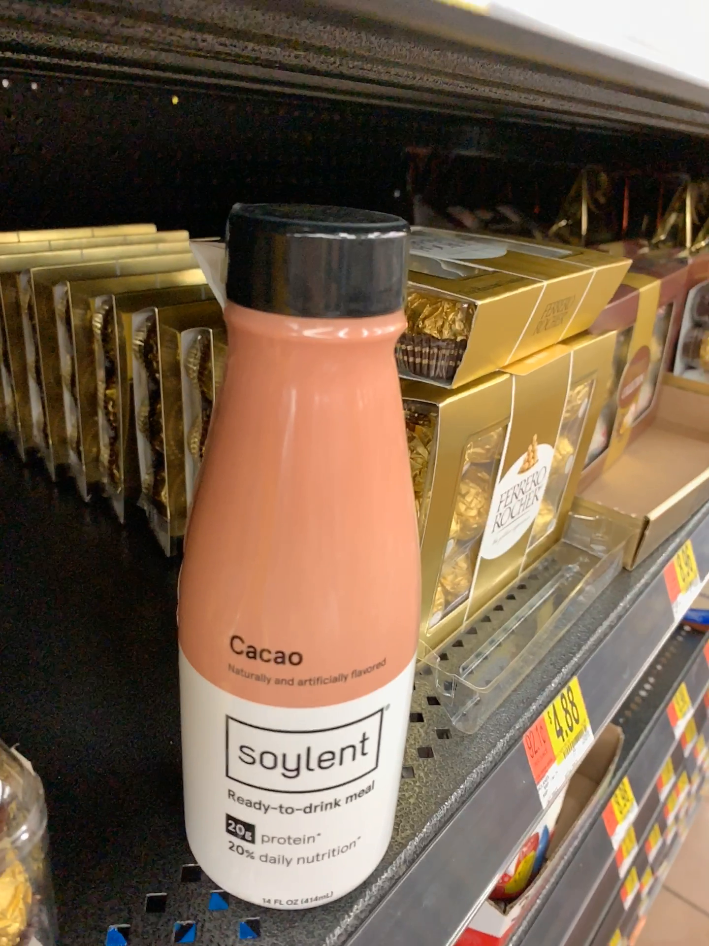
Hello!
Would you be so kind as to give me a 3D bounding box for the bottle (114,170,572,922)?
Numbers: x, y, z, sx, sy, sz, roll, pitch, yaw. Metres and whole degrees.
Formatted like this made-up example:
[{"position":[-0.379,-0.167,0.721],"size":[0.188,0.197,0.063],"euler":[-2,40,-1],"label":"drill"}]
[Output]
[{"position":[-0.012,0.026,0.200],"size":[0.080,0.189,0.070],"euler":[4,26,-5],"label":"bottle"}]
